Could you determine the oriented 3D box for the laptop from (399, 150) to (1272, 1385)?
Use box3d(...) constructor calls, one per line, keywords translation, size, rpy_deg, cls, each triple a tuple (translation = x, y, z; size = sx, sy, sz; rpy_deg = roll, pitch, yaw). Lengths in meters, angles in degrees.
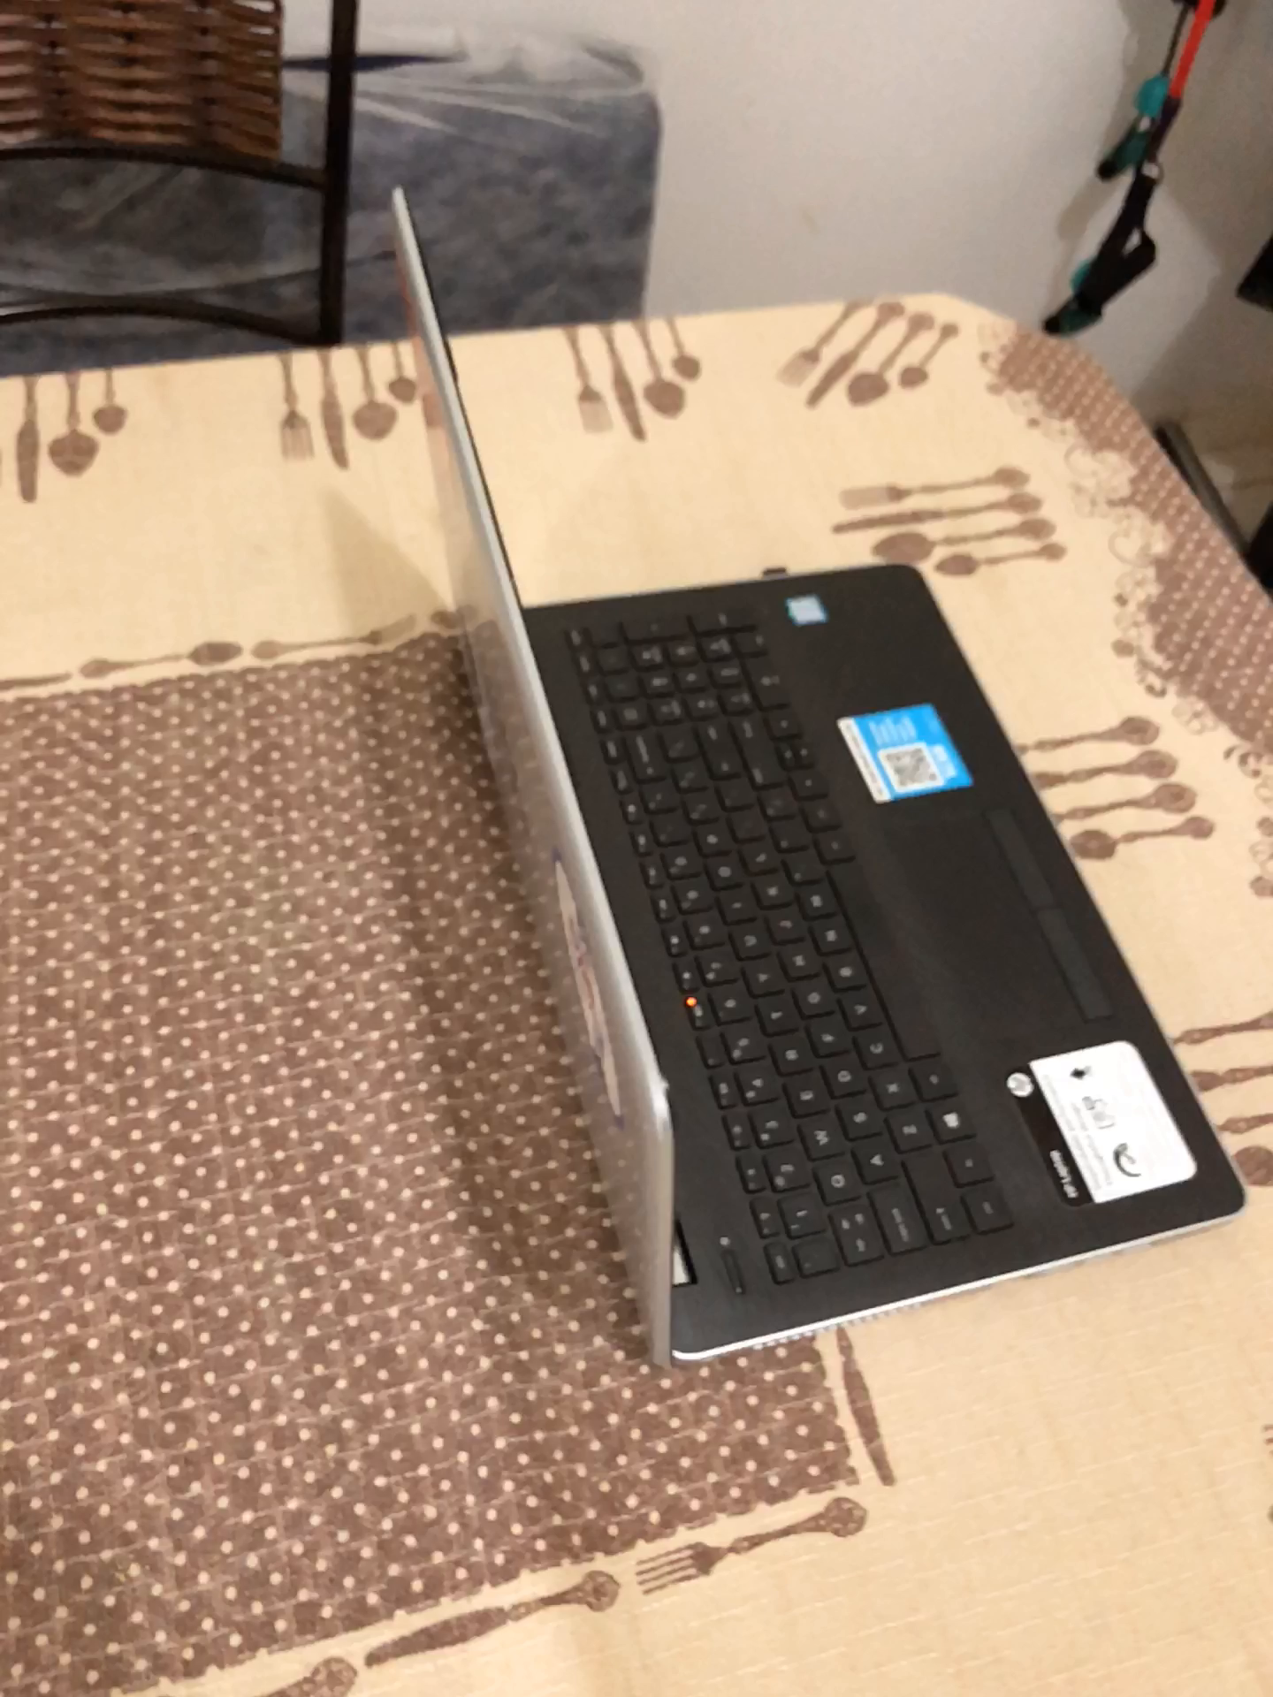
box3d(translation=(0.078, -0.046, 0.528), size=(0.268, 0.226, 0.361), rpy_deg=(-10, 57, -13), cls="laptop")
